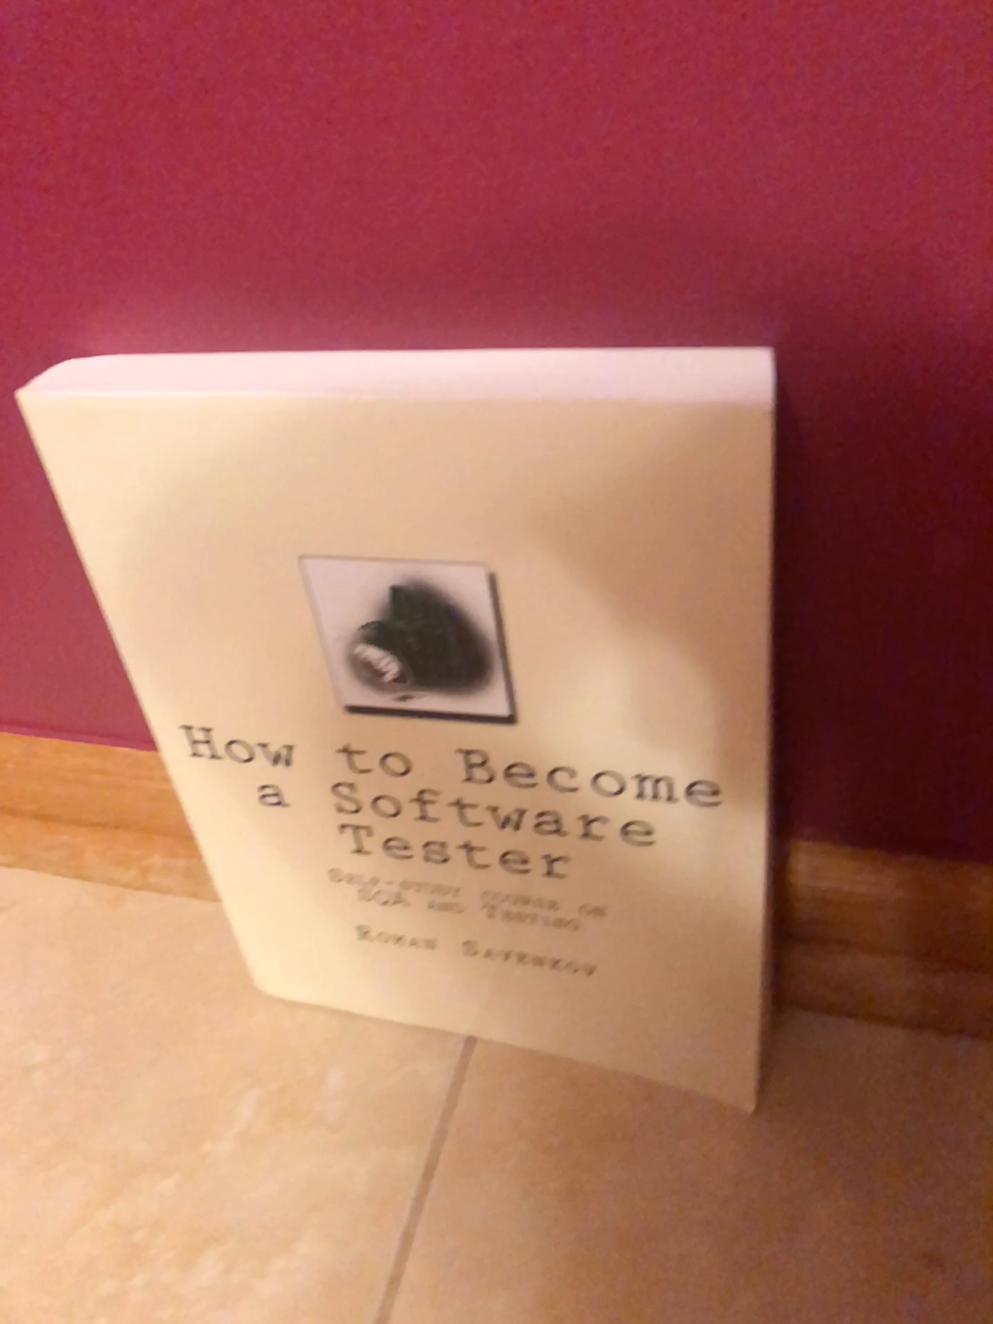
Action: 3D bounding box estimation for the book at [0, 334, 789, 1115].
[{"bbox_3d":[-0.019,0.032,0.370,0.220,0.273,0.046,6,40,20],"label":"book"}]
